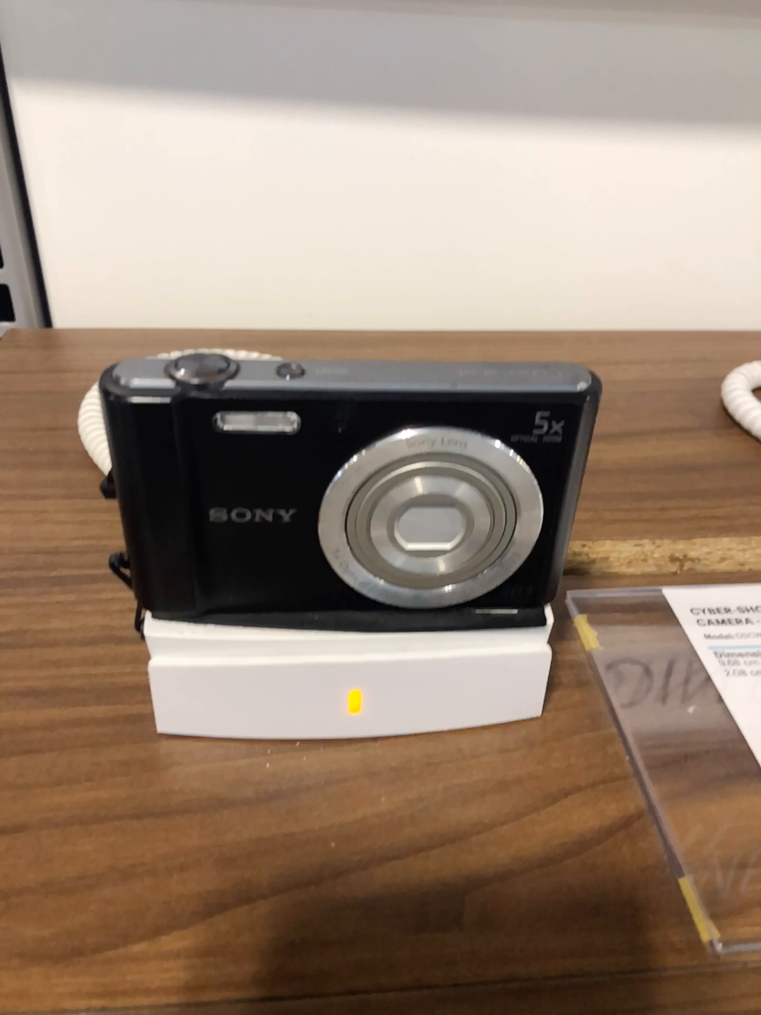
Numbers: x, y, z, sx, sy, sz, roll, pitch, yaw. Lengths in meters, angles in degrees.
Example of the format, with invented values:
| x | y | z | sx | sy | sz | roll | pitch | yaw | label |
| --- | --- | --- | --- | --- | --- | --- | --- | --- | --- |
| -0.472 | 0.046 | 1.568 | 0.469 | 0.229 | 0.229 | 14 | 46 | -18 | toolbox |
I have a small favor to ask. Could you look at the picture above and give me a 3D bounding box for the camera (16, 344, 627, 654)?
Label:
| x | y | z | sx | sy | sz | roll | pitch | yaw | label |
| --- | --- | --- | --- | --- | --- | --- | --- | --- | --- |
| -0.010 | -0.001 | 0.165 | 0.100 | 0.050 | 0.030 | 1 | 33 | -1 | camera |
